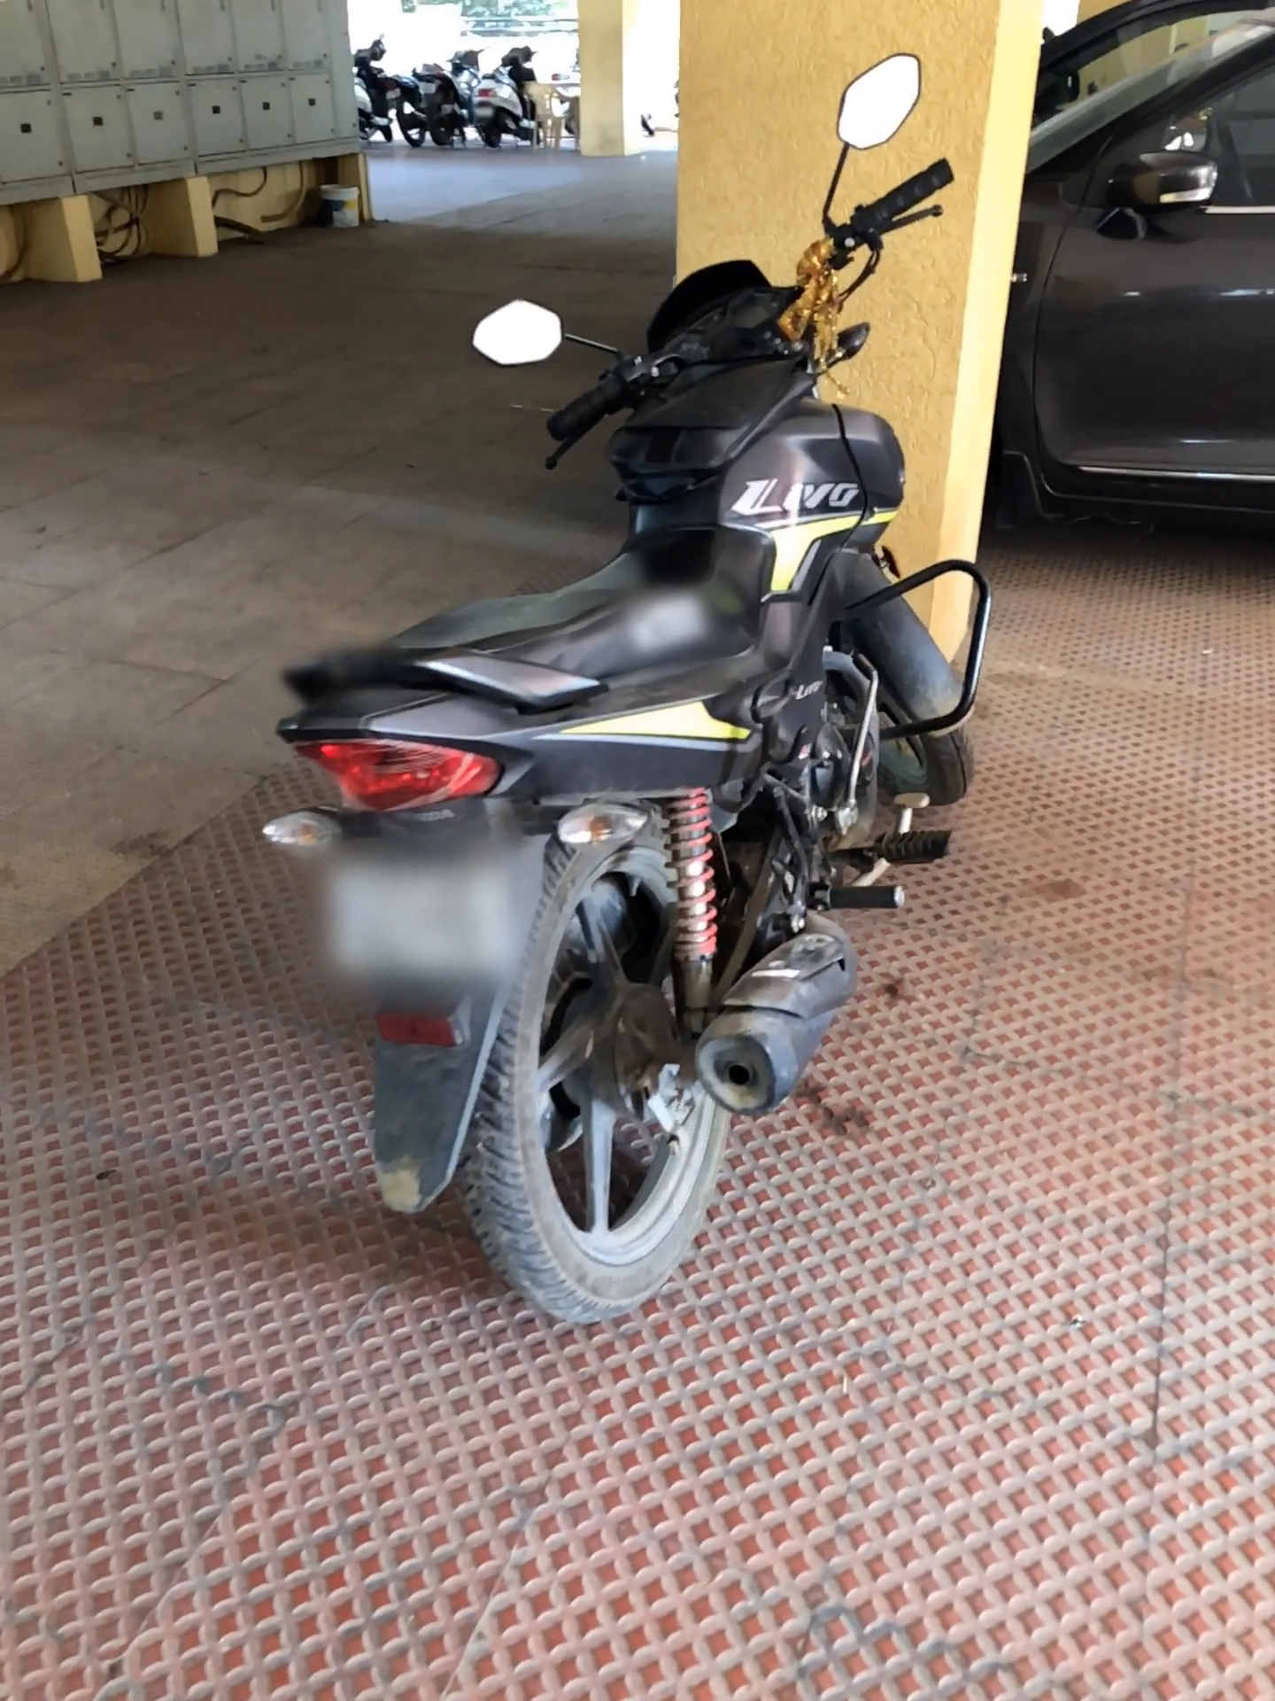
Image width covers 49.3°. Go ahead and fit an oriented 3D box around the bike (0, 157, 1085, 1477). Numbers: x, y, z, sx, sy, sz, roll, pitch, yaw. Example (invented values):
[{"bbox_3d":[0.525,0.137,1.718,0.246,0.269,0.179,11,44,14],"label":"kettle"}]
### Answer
[{"bbox_3d":[0.063,-0.274,1.903,0.717,1.088,1.628,11,32,19],"label":"bike"}]
